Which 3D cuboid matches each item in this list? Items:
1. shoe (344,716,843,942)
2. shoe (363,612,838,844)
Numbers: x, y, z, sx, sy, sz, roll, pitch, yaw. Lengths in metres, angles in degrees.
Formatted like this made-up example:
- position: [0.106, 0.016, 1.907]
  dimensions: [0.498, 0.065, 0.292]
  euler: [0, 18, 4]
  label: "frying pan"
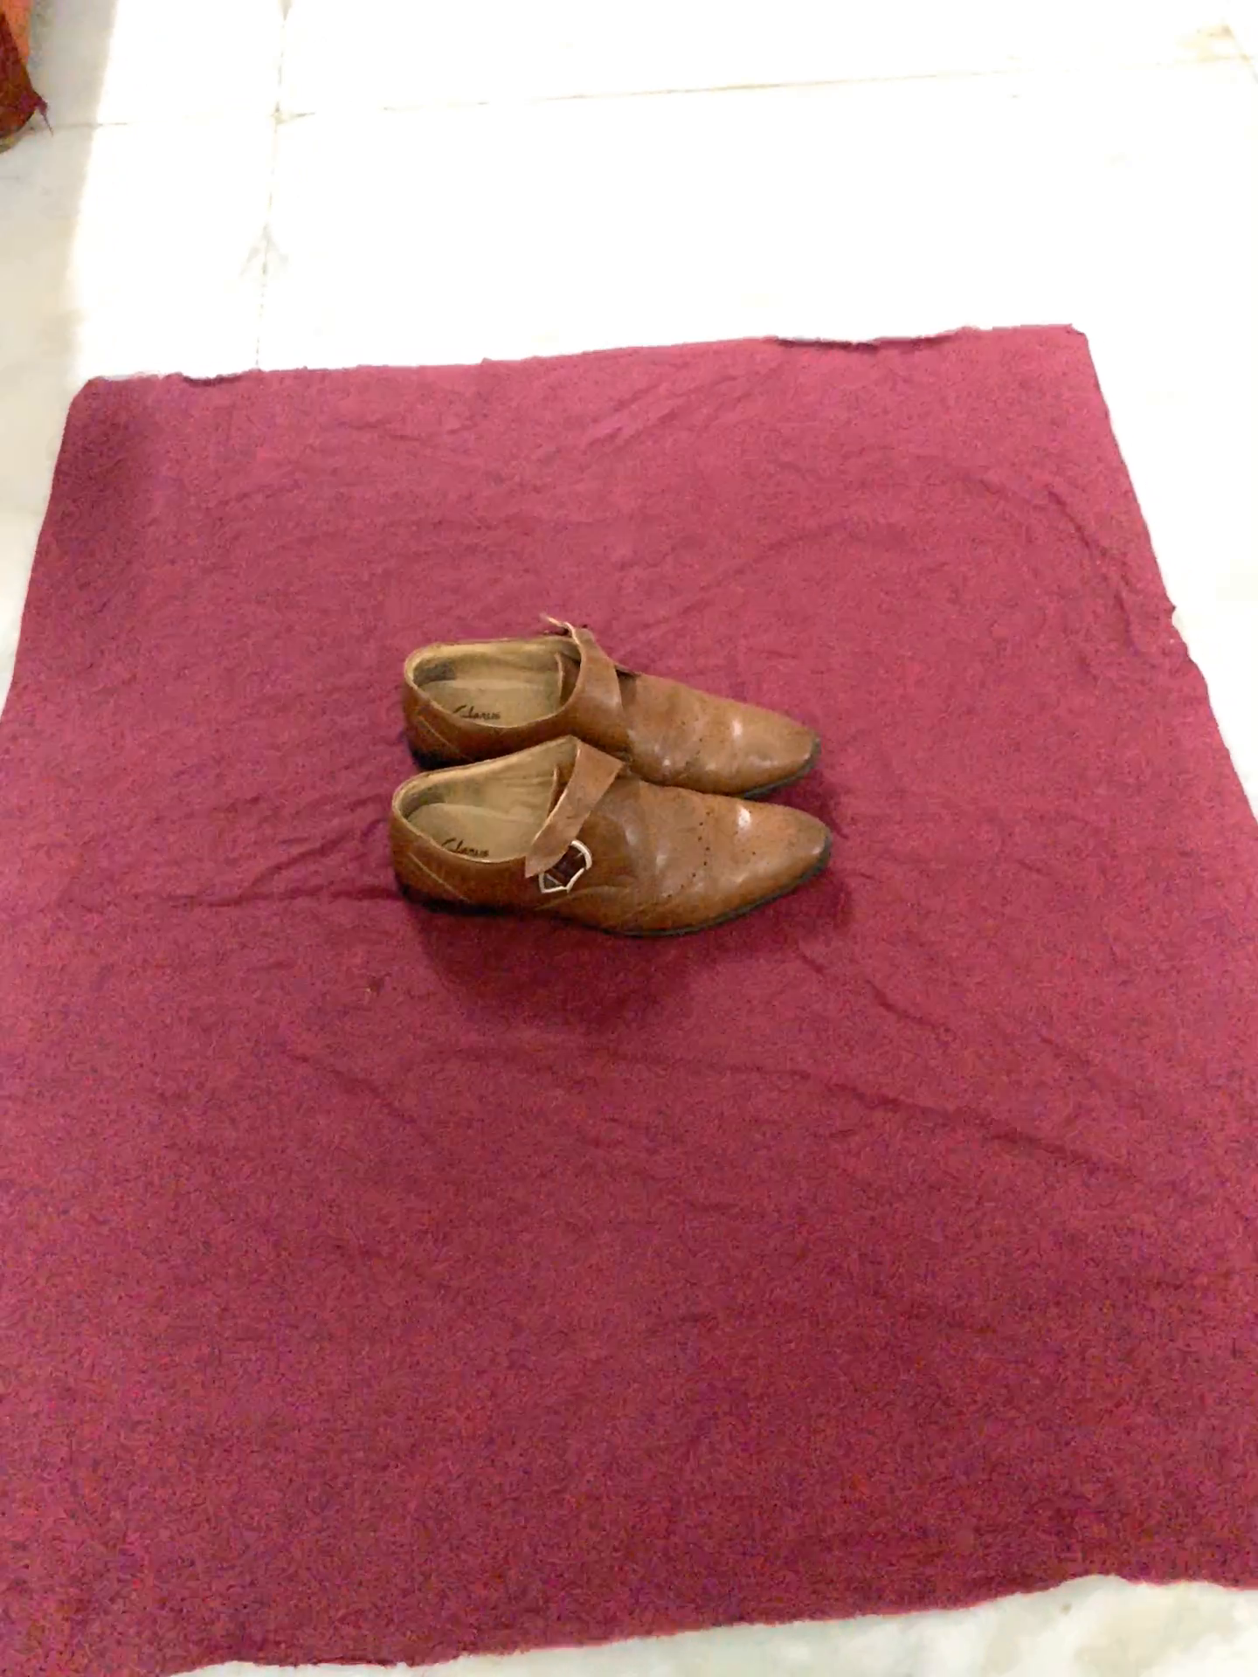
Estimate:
- position: [-0.019, -0.006, 0.838]
  dimensions: [0.300, 0.089, 0.101]
  euler: [3, 60, 2]
  label: "shoe"
- position: [-0.017, -0.078, 0.909]
  dimensions: [0.310, 0.089, 0.101]
  euler: [6, 60, 4]
  label: "shoe"
